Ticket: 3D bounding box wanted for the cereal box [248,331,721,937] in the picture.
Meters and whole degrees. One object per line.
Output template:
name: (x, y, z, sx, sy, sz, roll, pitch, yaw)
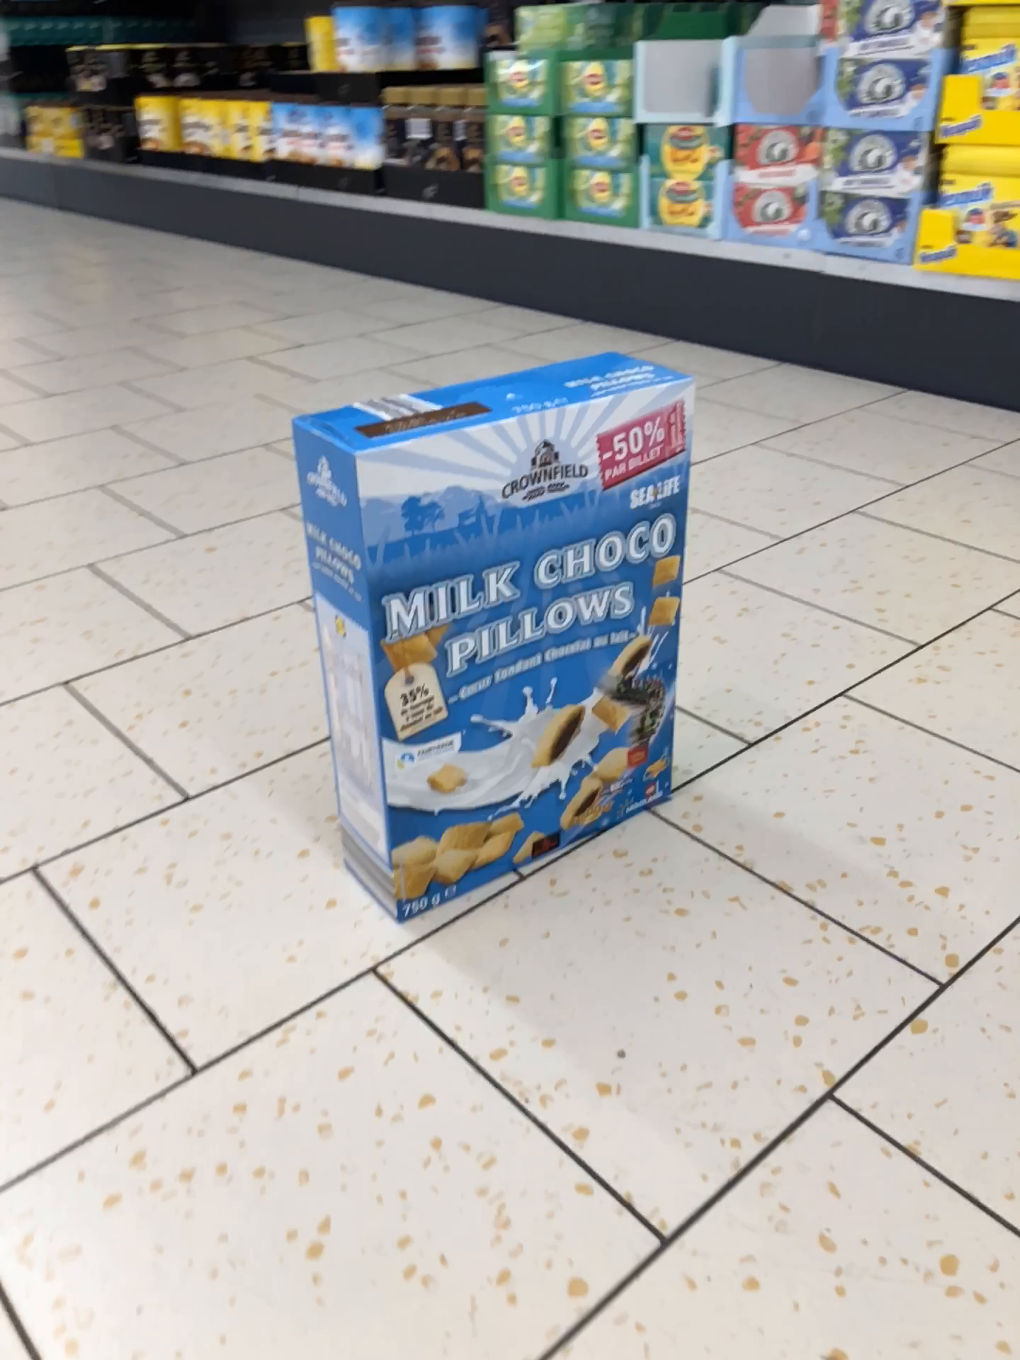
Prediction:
cereal box: (-0.005, -0.029, 0.584, 0.211, 0.259, 0.080, -18, 32, -28)
